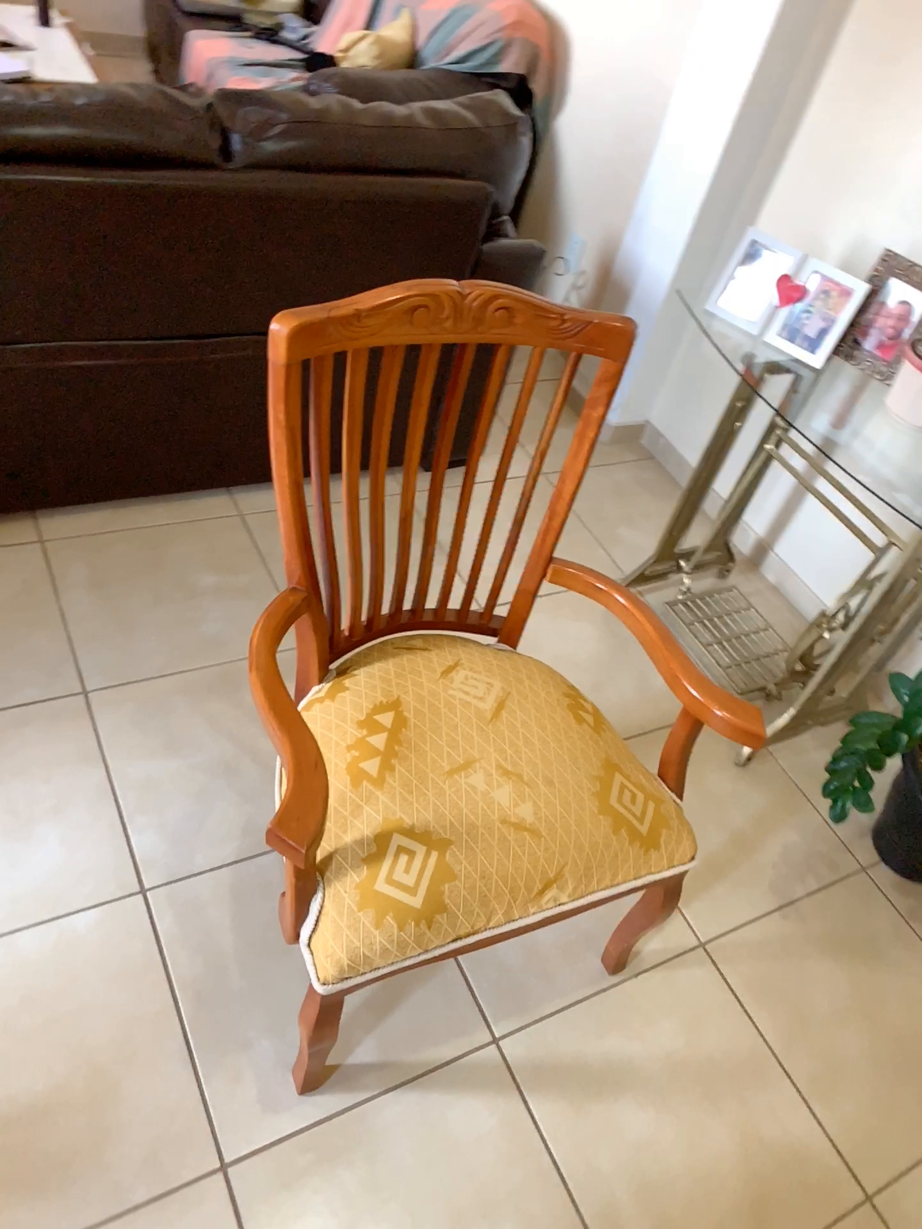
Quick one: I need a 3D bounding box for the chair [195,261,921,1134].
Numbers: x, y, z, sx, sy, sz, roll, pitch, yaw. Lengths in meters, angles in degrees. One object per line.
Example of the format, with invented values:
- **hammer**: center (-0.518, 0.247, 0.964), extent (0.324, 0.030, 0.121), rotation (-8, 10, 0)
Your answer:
- **chair**: center (0.027, 0.133, 1.347), extent (0.622, 1.014, 0.632), rotation (-10, 49, -27)
